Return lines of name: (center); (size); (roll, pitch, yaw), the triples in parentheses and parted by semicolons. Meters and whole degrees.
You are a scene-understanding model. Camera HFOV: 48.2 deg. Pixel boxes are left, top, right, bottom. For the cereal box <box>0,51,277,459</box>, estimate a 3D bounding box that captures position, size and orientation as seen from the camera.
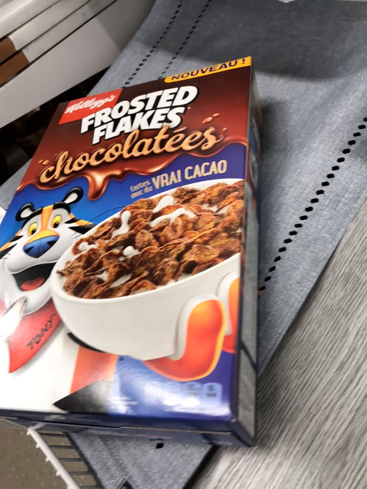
cereal box: (-0.038, -0.015, 0.330); (0.210, 0.070, 0.310); (-6, 51, 20)
